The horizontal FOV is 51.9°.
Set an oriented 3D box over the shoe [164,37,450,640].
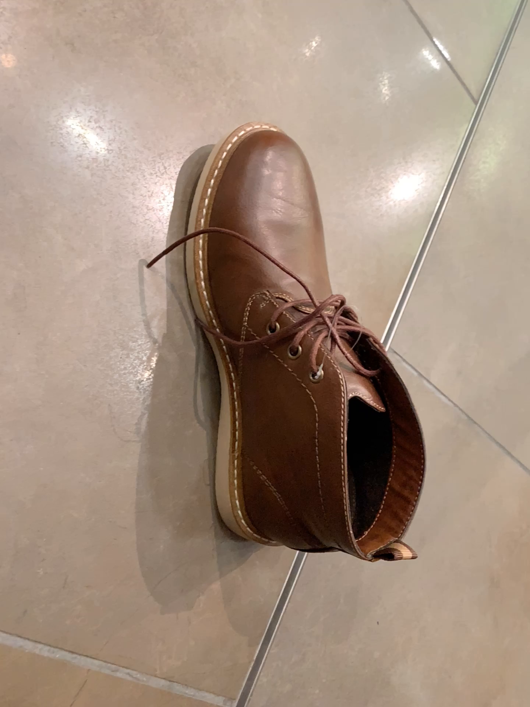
[{"bbox_3d":[0.023,-0.008,0.345,0.107,0.120,0.294,-5,91,-35],"label":"shoe"}]
